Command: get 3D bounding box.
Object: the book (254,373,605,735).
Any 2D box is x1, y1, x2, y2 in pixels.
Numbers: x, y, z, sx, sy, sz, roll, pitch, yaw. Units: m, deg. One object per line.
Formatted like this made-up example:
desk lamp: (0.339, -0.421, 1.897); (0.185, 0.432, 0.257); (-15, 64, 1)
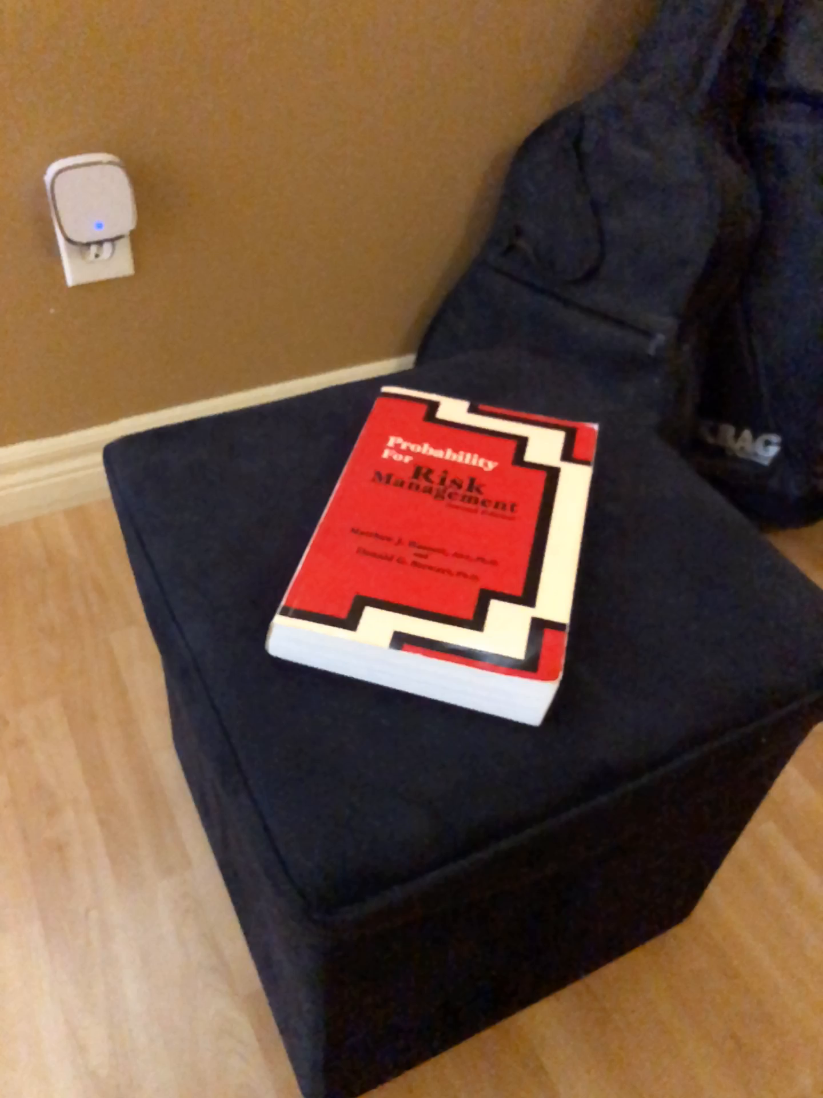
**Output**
book: (0.021, -0.011, 0.526); (0.150, 0.041, 0.216); (14, 45, 7)
